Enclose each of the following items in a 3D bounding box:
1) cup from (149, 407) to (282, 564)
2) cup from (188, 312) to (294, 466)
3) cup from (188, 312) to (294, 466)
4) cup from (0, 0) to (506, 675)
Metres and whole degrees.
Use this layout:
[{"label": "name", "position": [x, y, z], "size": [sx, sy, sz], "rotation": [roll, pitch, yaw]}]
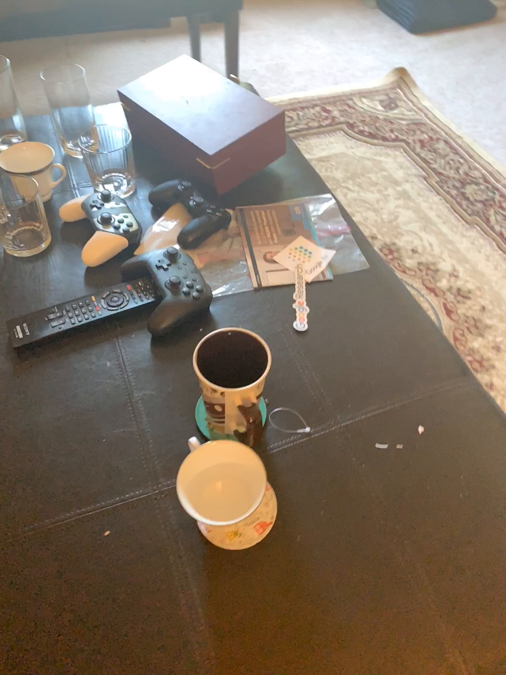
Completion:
[{"label": "cup", "position": [-0.040, 0.151, 0.539], "size": [0.090, 0.070, 0.110], "rotation": [-23, 56, -20]}, {"label": "cup", "position": [-0.018, 0.059, 0.594], "size": [0.080, 0.110, 0.121], "rotation": [-13, 54, -13]}, {"label": "cup", "position": [-0.018, 0.059, 0.594], "size": [0.080, 0.110, 0.121], "rotation": [-13, 54, -13]}, {"label": "cup", "position": [-0.018, 0.059, 0.594], "size": [0.297, 9.458, 39.433], "rotation": [-13, 54, -13]}]
